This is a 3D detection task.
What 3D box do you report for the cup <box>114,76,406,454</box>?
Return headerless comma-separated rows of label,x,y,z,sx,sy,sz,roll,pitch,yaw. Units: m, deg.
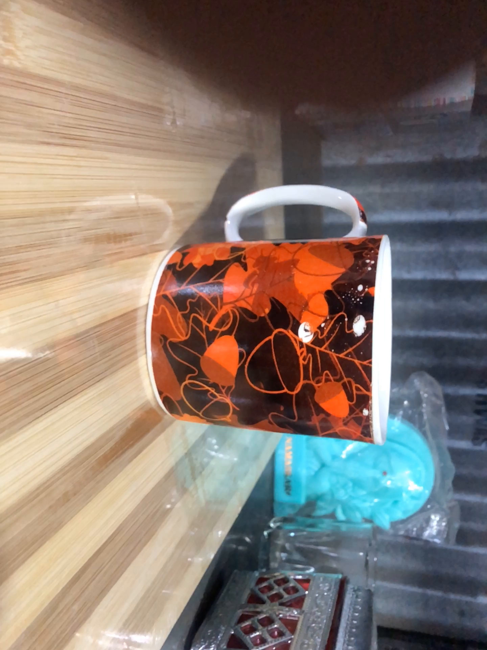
cup,0.018,-0.017,0.207,0.080,0.080,0.110,55,40,-64
